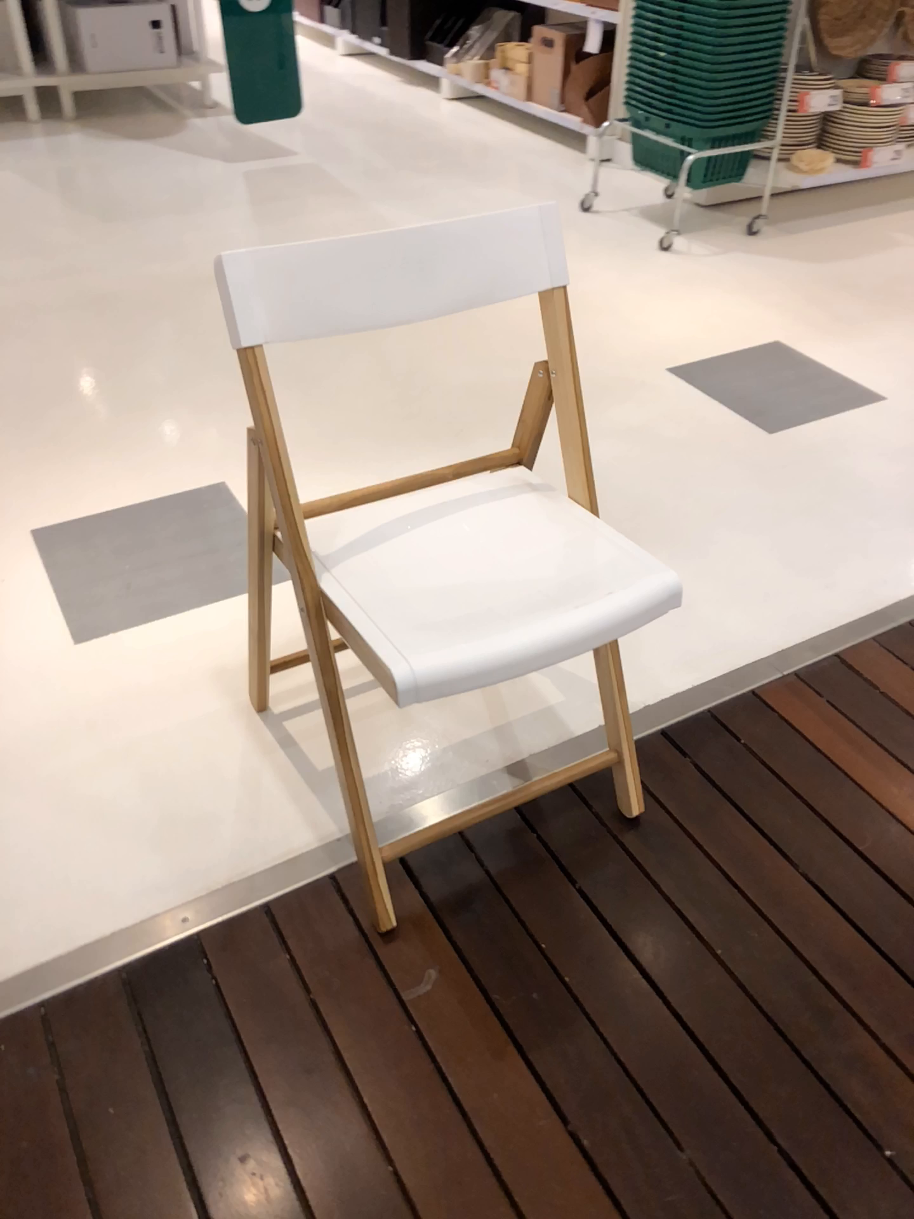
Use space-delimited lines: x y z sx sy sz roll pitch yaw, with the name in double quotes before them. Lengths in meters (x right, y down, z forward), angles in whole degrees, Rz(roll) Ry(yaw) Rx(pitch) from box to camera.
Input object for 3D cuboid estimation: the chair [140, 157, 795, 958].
"chair" -0.029 -0.074 1.243 0.471 0.734 0.513 -18 44 -22
